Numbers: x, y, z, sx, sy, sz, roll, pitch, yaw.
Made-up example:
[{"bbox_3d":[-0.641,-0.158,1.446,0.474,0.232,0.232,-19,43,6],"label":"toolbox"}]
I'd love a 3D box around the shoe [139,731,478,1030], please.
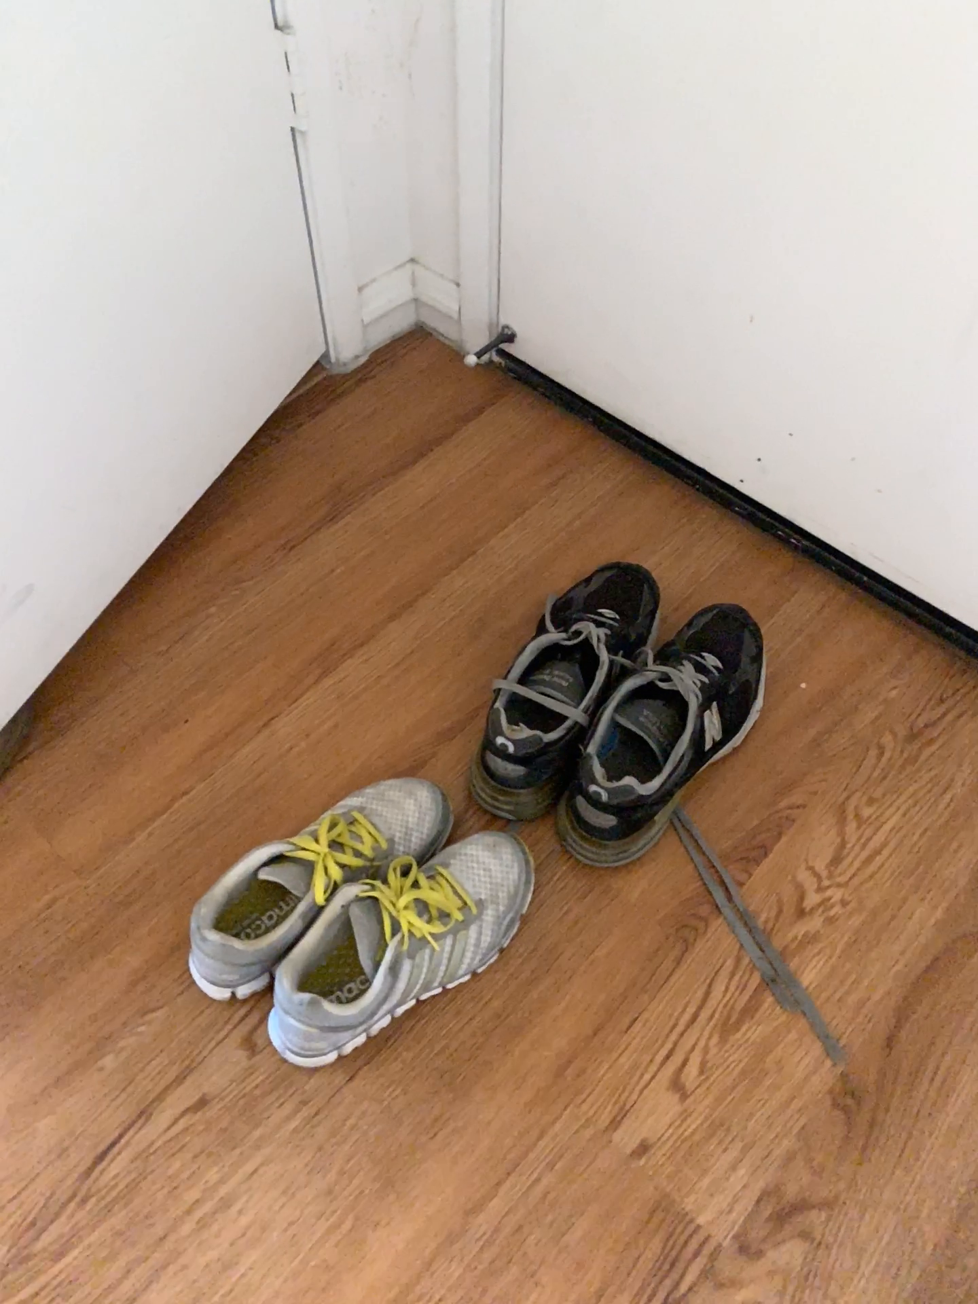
[{"bbox_3d":[-0.141,0.195,0.840,0.260,0.169,0.070,-32,70,-20],"label":"shoe"}]

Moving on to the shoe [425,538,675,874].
[{"bbox_3d":[0.063,0.054,1.054,0.100,0.169,0.311,30,60,13],"label":"shoe"}]

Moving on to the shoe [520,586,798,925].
[{"bbox_3d":[0.169,0.103,1.002,0.100,0.169,0.301,35,62,16],"label":"shoe"}]

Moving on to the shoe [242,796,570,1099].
[{"bbox_3d":[-0.068,0.257,0.855,0.250,0.169,0.090,-32,70,-20],"label":"shoe"}]
